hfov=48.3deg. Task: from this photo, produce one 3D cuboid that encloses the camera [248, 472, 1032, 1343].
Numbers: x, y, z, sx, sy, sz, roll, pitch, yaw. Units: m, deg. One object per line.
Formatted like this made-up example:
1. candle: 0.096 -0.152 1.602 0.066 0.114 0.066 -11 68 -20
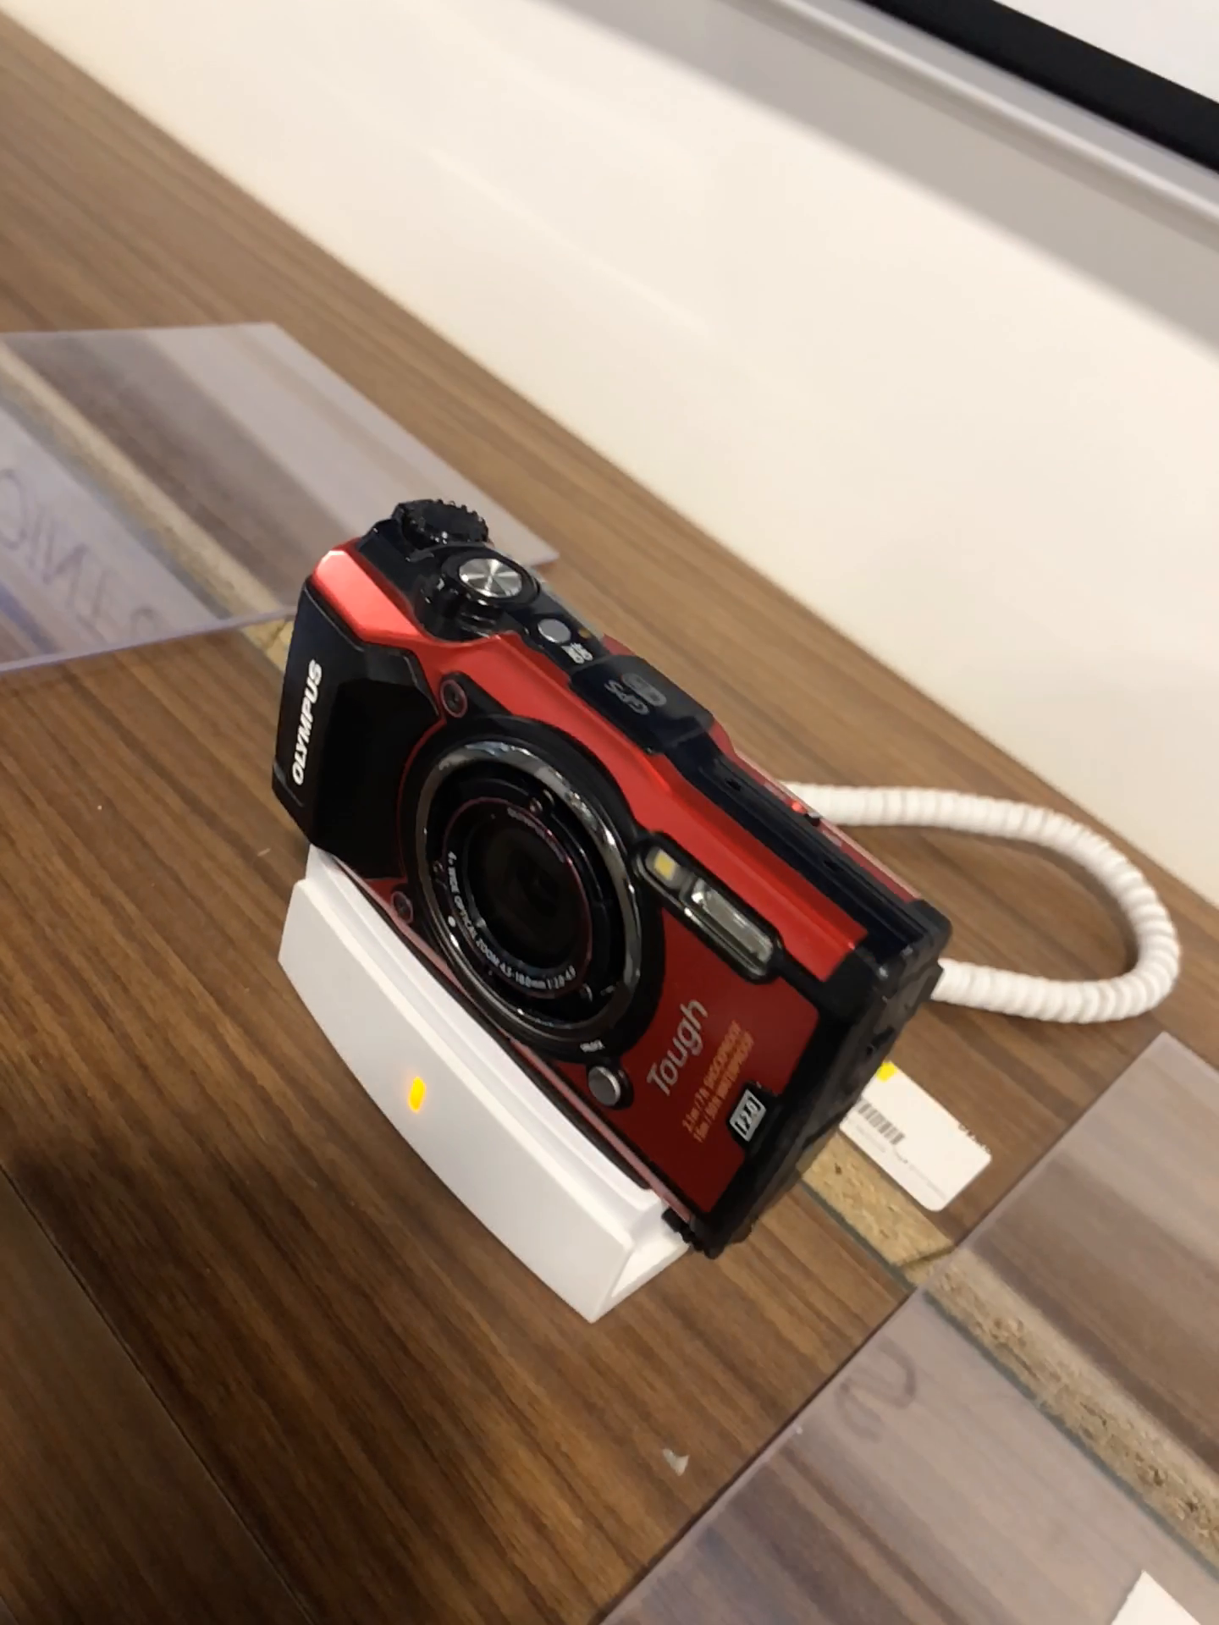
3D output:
1. camera: -0.006 0.010 0.212 0.030 0.070 0.120 -20 53 -43
